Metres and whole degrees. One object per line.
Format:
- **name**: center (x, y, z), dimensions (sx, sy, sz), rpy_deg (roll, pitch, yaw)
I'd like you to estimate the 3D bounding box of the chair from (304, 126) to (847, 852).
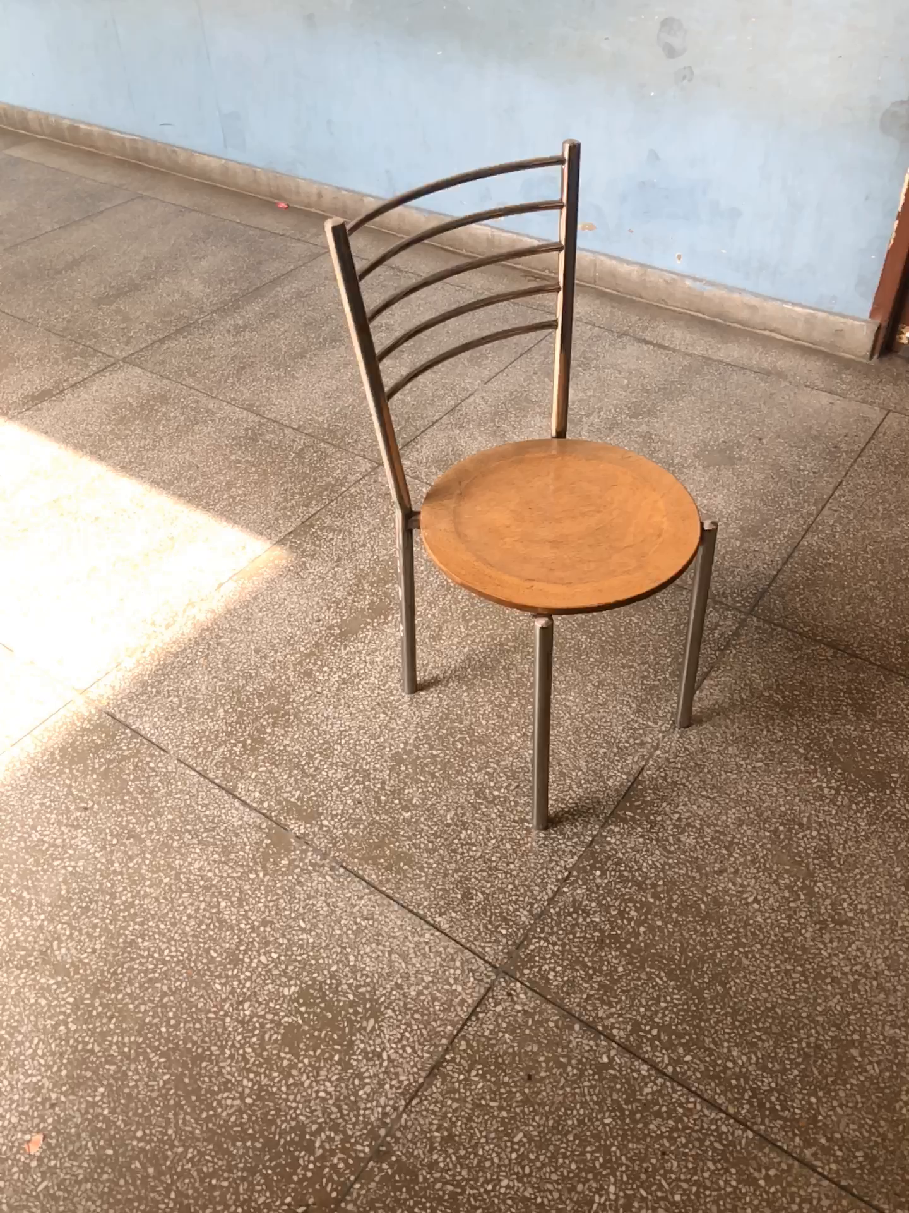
- **chair**: center (0.138, -0.146, 1.357), dimensions (0.421, 0.777, 0.421), rpy_deg (-30, 49, -28)
